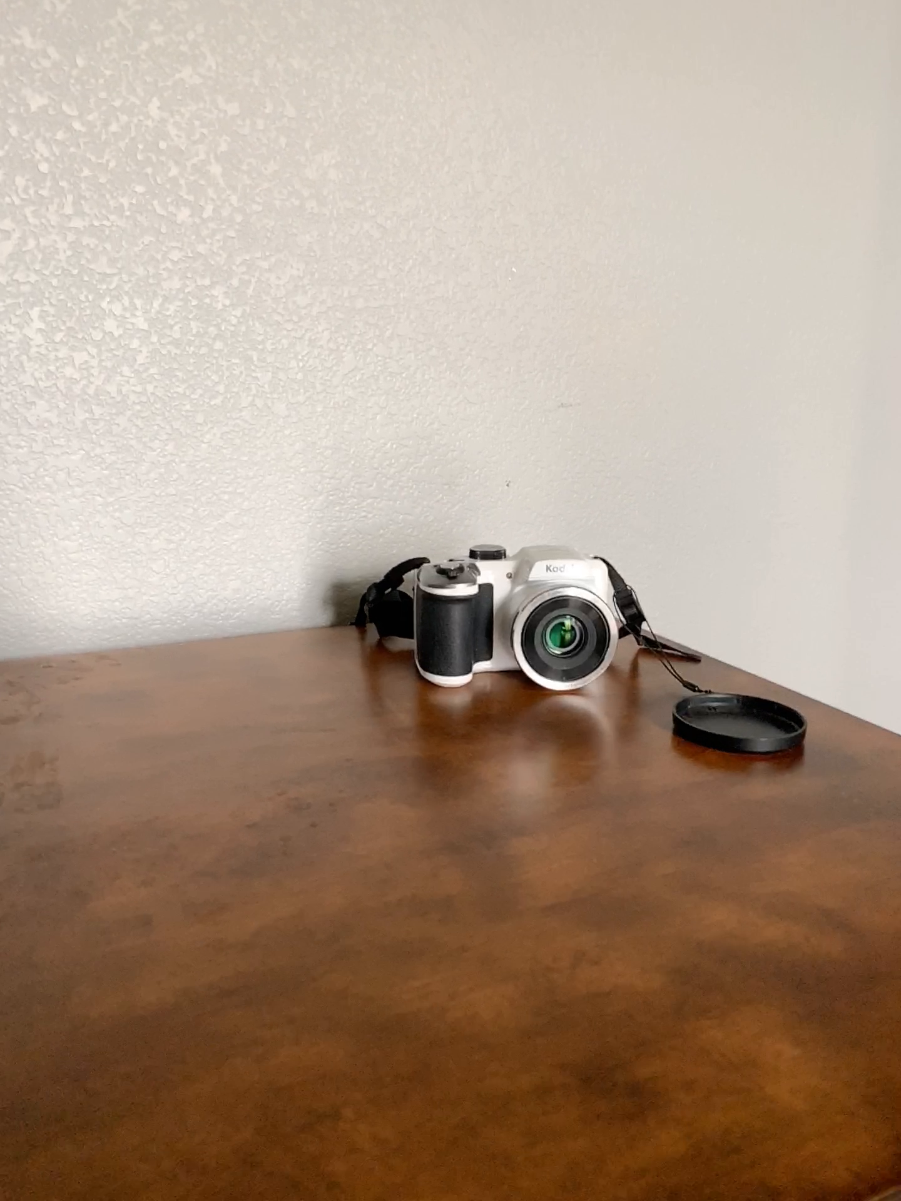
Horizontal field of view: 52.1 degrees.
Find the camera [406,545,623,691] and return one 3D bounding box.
[{"bbox_3d":[0.036,0.008,0.548,0.119,0.071,0.070,0,12,2],"label":"camera"}]
